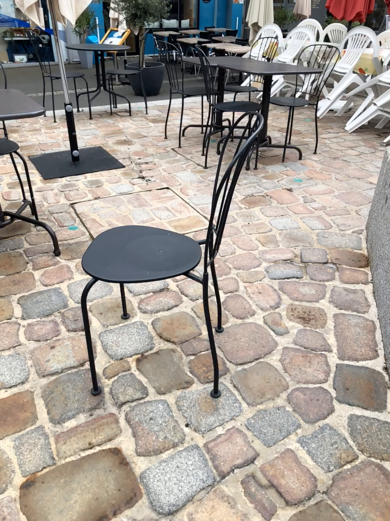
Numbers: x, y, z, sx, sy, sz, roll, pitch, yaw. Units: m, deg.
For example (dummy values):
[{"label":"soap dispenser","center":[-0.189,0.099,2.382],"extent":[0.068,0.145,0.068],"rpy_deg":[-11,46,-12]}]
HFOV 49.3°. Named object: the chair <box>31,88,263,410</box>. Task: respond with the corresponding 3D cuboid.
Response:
[{"label":"chair","center":[-0.085,-0.031,1.234],"extent":[0.470,0.795,0.423],"rpy_deg":[4,31,5]}]
